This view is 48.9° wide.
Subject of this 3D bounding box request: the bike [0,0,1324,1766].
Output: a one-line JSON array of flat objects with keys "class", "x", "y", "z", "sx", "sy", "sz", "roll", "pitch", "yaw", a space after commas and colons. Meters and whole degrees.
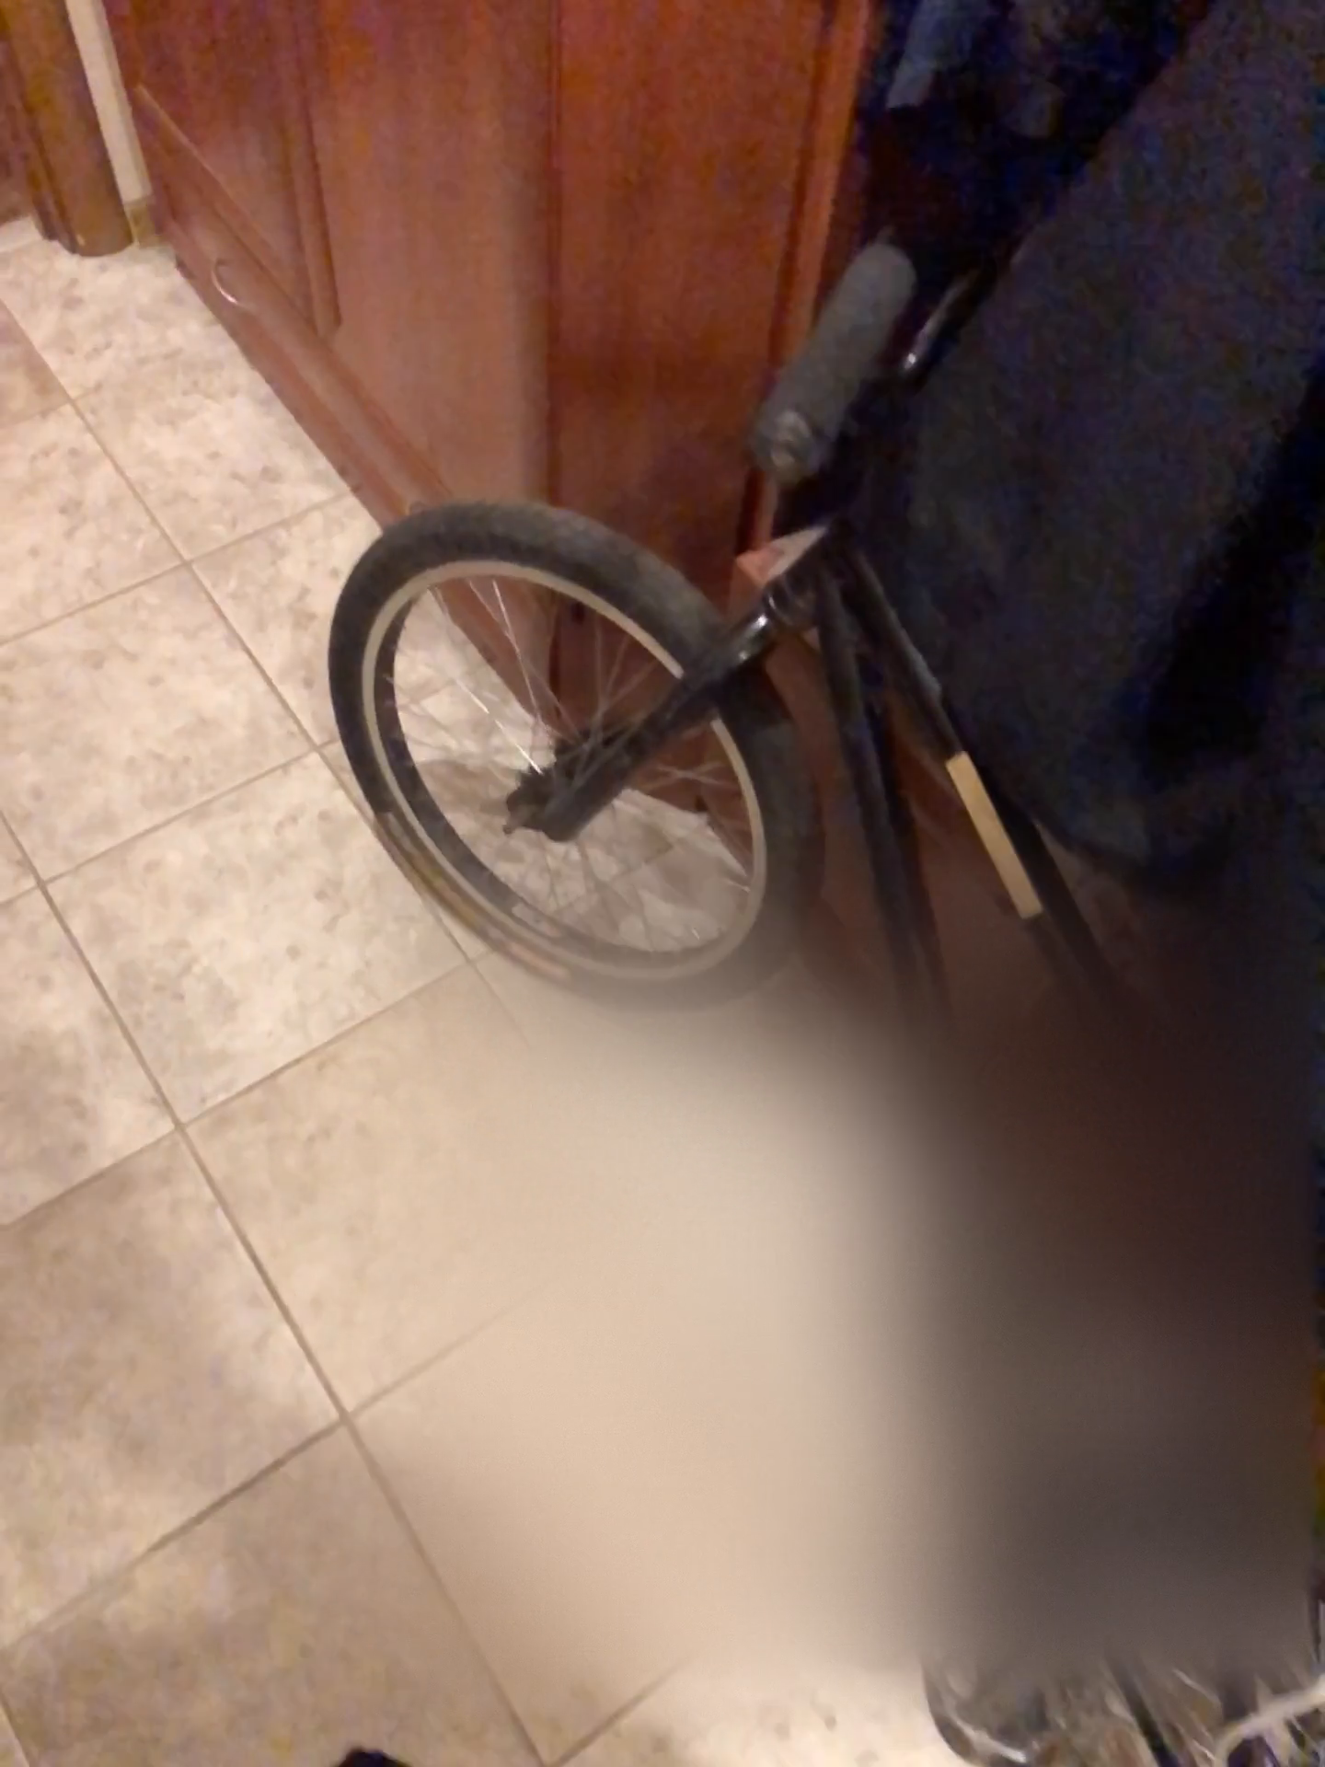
[{"class": "bike", "x": 0.200, "y": 0.122, "z": 0.842, "sx": 0.527, "sy": 0.855, "sz": 1.356, "roll": -28, "pitch": 68, "yaw": -19}]
